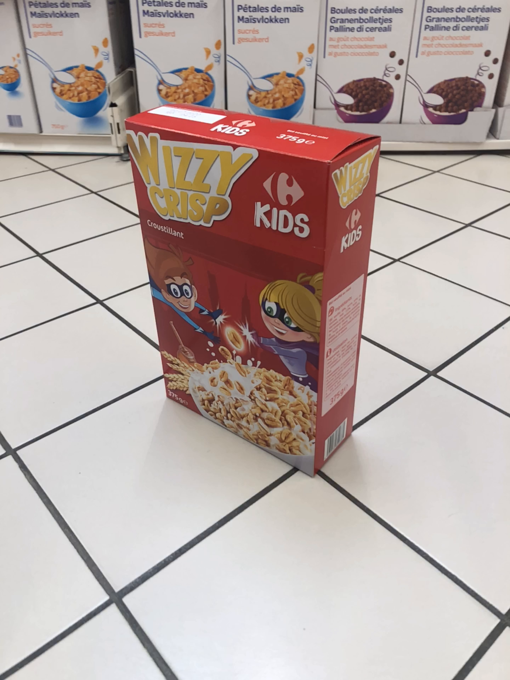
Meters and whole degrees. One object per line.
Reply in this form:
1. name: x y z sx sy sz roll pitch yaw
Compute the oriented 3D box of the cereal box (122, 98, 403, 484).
1. cereal box: 0.003 -0.043 0.487 0.190 0.278 0.091 23 41 31
